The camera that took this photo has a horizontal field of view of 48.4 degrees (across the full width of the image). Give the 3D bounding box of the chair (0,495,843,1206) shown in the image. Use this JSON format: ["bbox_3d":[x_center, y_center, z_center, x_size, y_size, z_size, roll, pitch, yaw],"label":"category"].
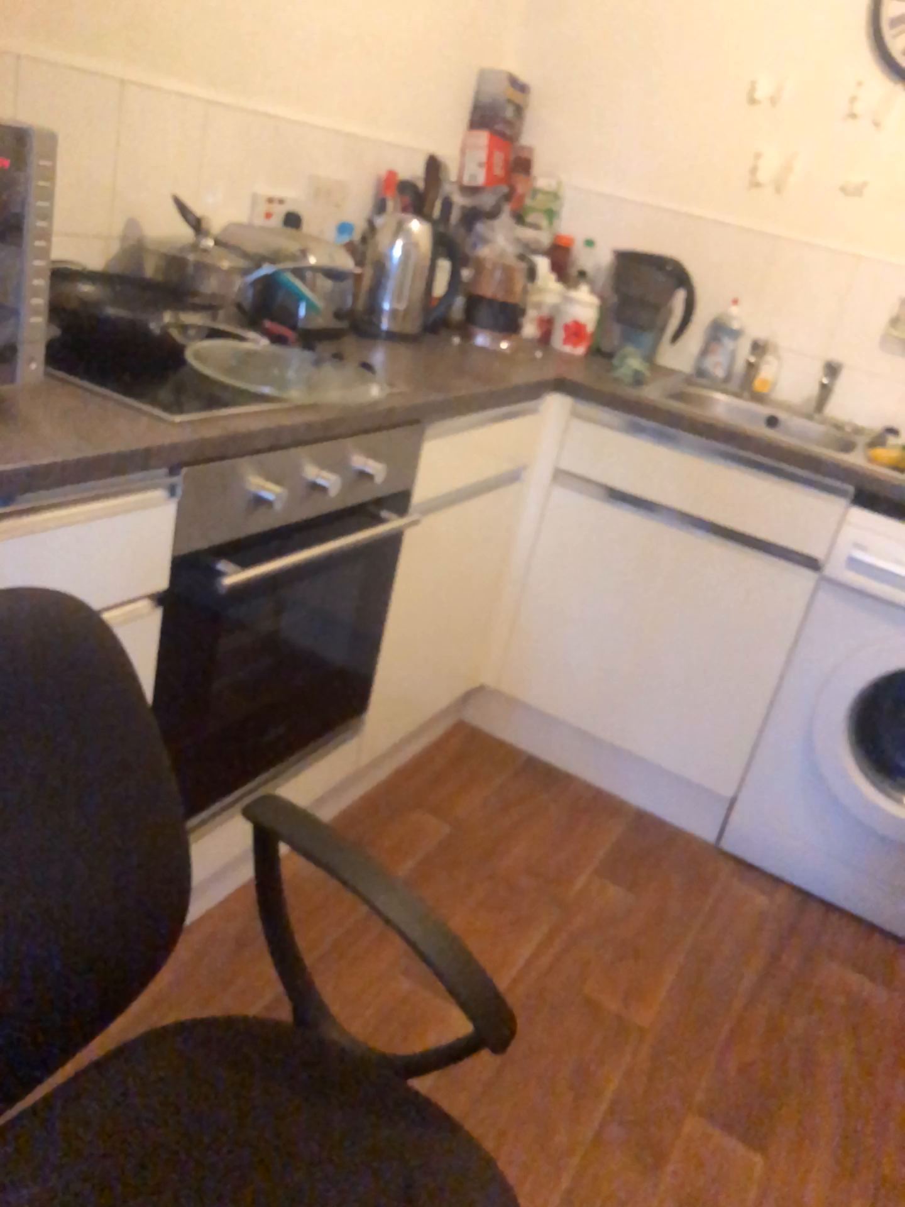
[{"bbox_3d":[-0.217,0.488,0.786,0.643,0.882,0.639,23,24,21],"label":"chair"}]
